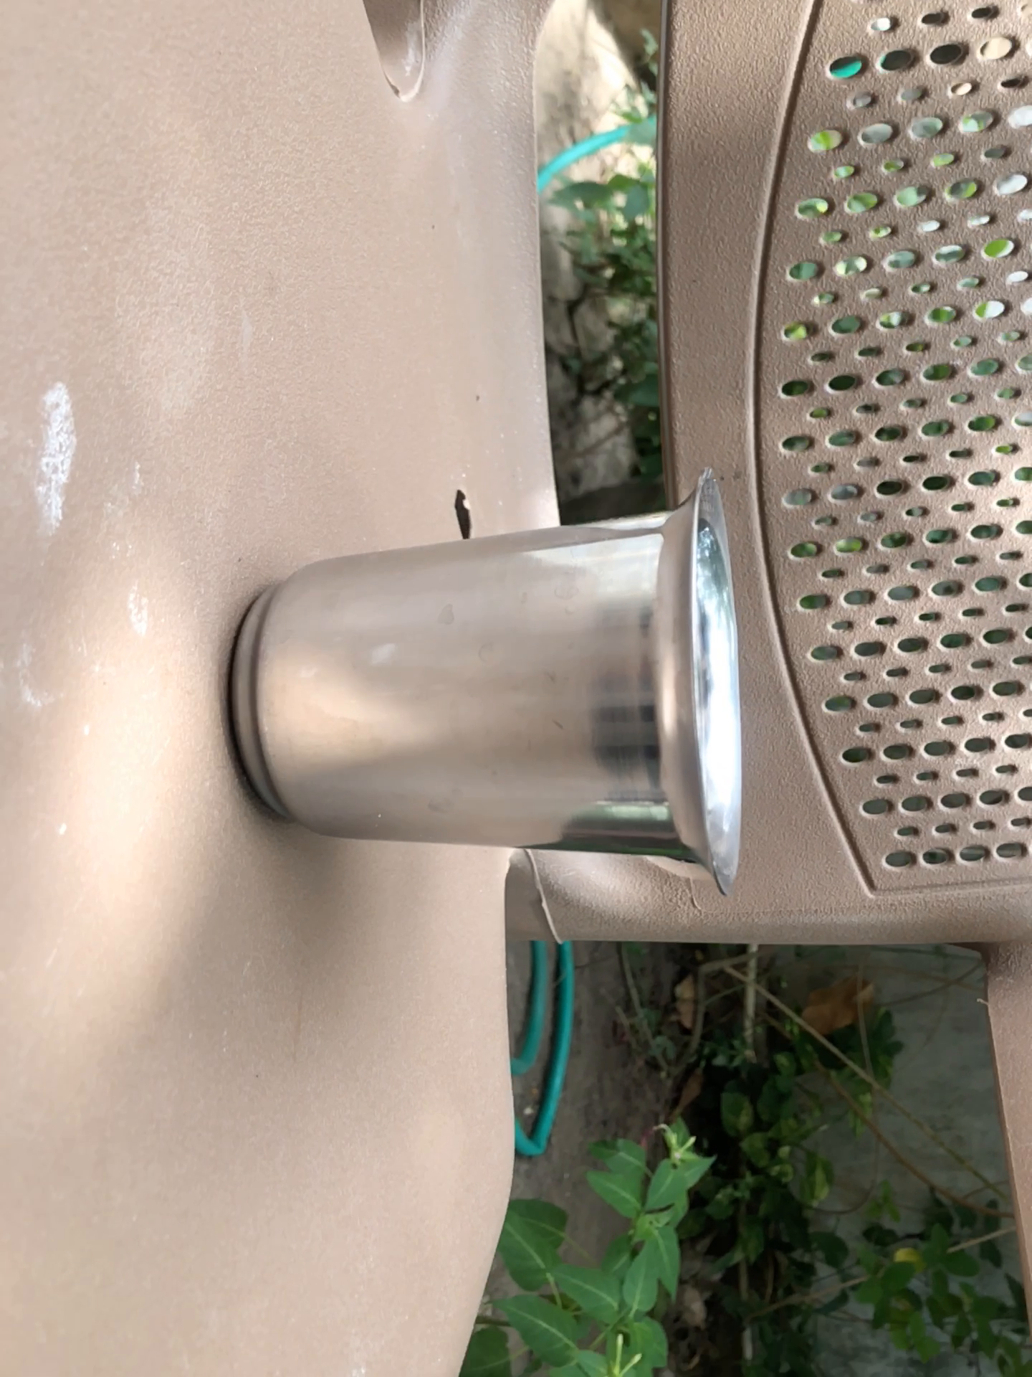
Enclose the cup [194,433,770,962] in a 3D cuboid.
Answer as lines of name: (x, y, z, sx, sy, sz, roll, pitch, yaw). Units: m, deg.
cup: (0.003, 0.008, 0.248, 0.090, 0.089, 0.080, 52, 42, -61)
